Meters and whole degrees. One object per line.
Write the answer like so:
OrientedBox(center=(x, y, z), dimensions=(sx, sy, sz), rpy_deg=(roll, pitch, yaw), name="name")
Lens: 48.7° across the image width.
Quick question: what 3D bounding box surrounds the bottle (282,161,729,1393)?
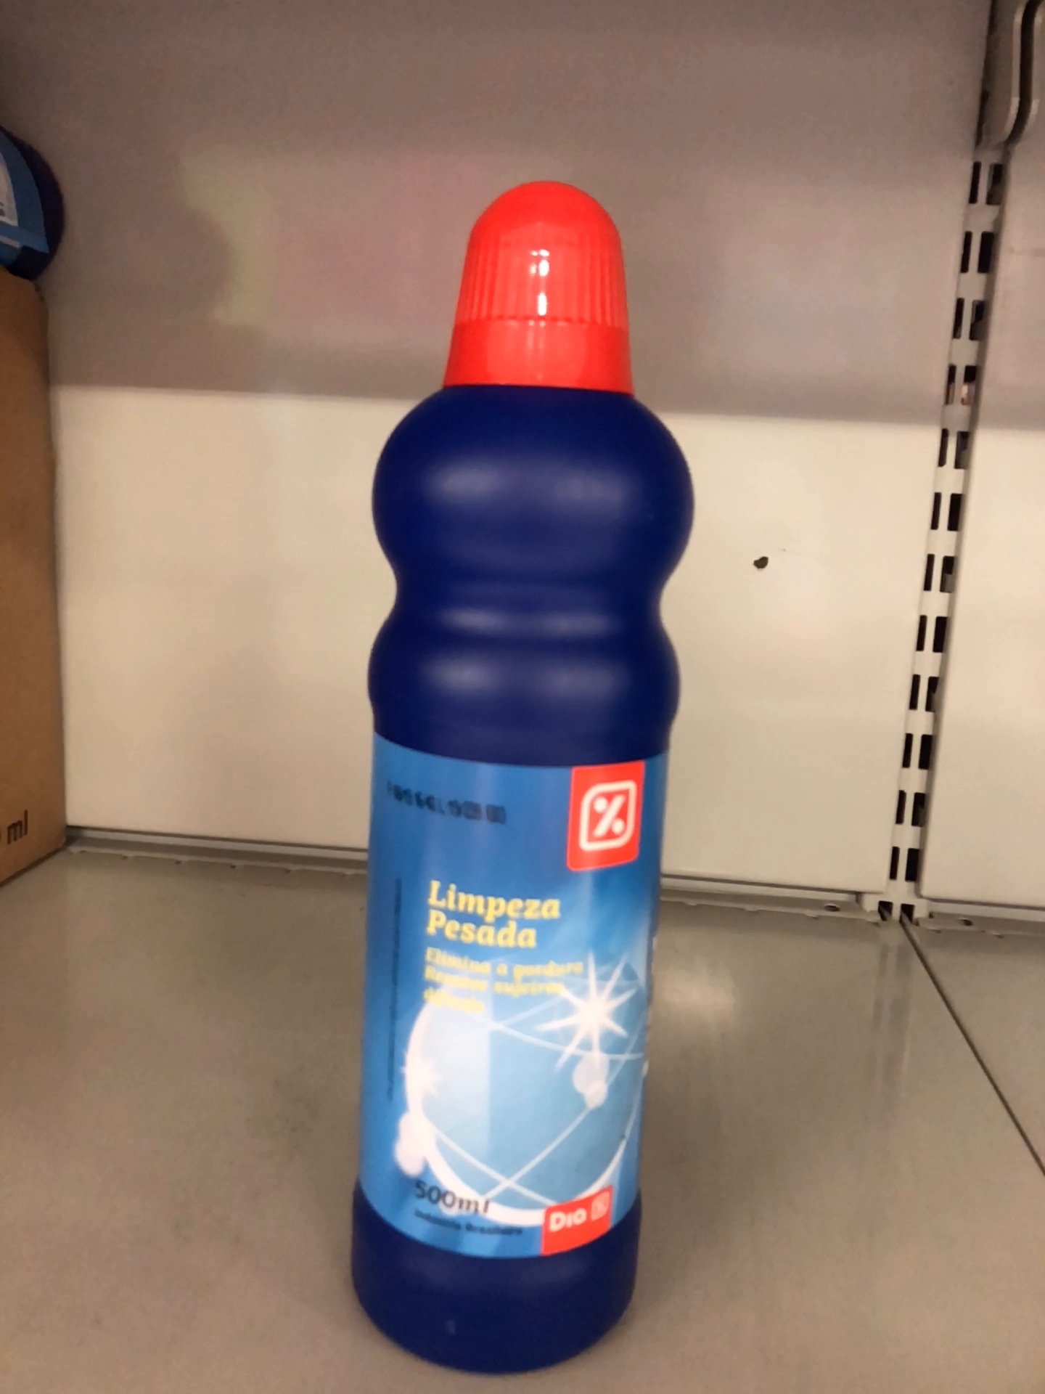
OrientedBox(center=(-0.006, 0.027, 0.238), dimensions=(0.070, 0.239, 0.070), rpy_deg=(2, 11, 0), name="bottle")
